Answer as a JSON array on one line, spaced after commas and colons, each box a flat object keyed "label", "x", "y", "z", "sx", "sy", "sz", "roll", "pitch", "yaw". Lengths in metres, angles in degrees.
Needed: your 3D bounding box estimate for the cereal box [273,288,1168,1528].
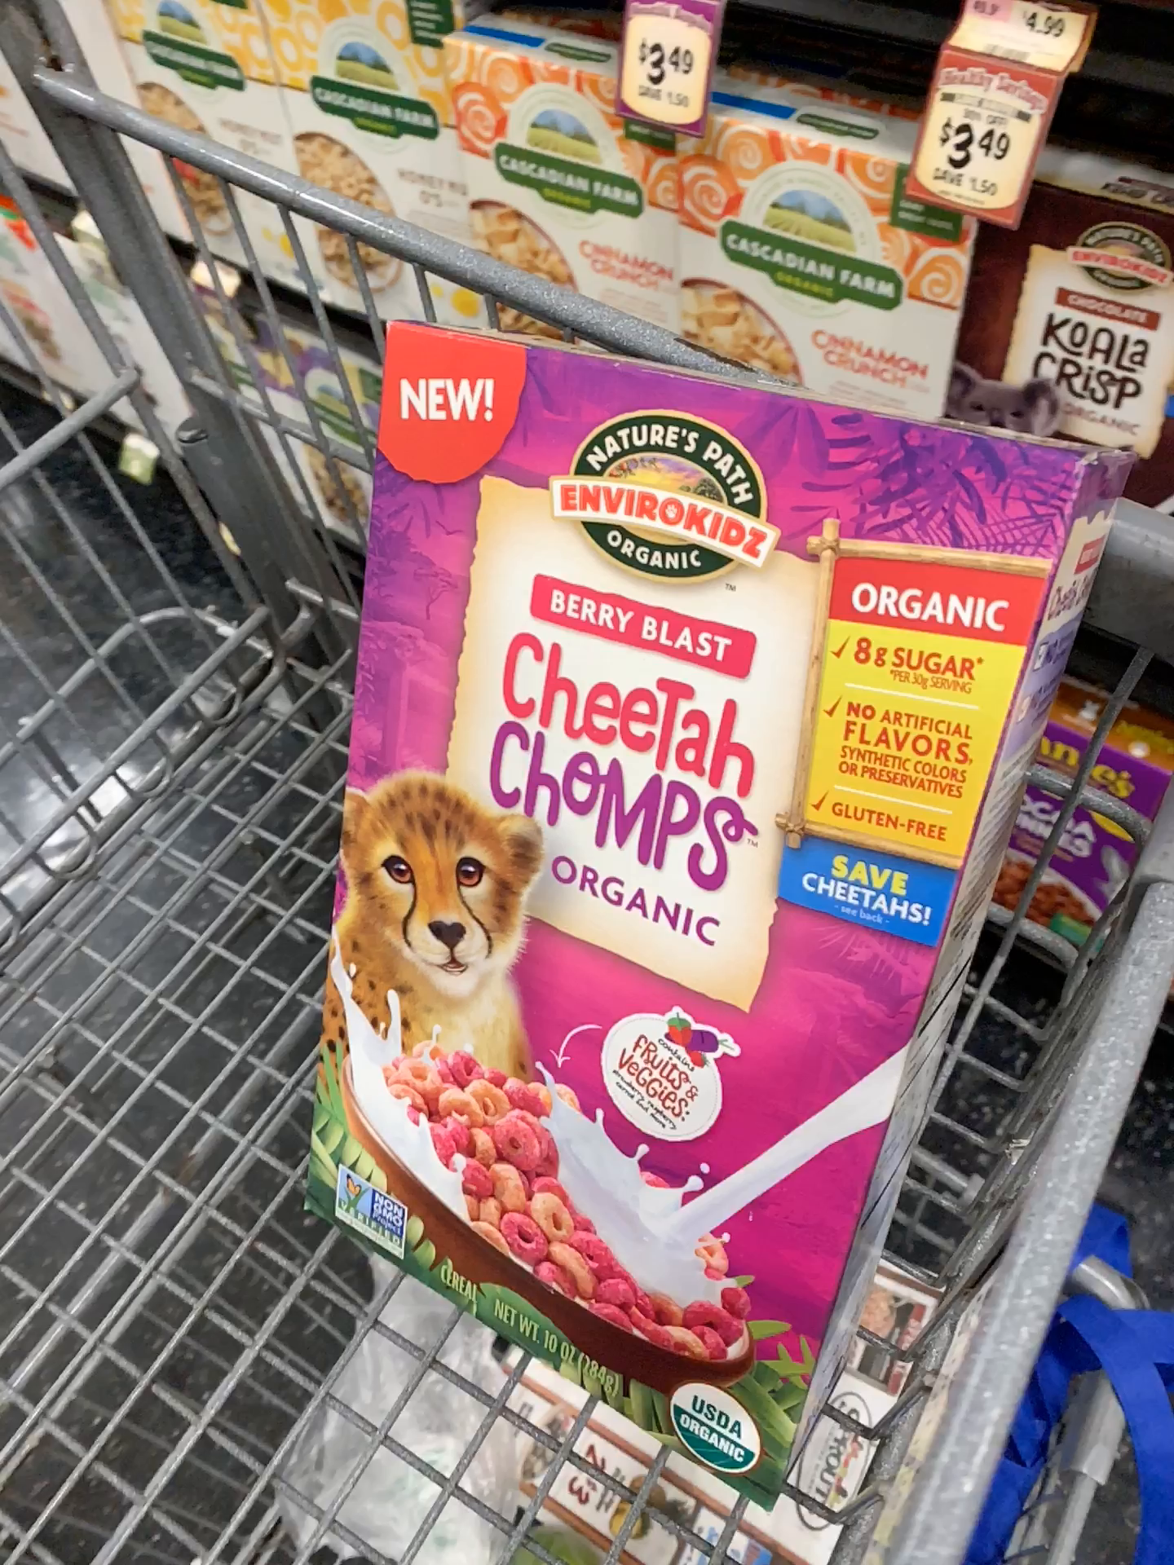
[{"label": "cereal box", "x": 0.014, "y": 0.026, "z": 0.299, "sx": 0.160, "sy": 0.250, "sz": 0.060, "roll": 21, "pitch": 22, "yaw": 26}]
